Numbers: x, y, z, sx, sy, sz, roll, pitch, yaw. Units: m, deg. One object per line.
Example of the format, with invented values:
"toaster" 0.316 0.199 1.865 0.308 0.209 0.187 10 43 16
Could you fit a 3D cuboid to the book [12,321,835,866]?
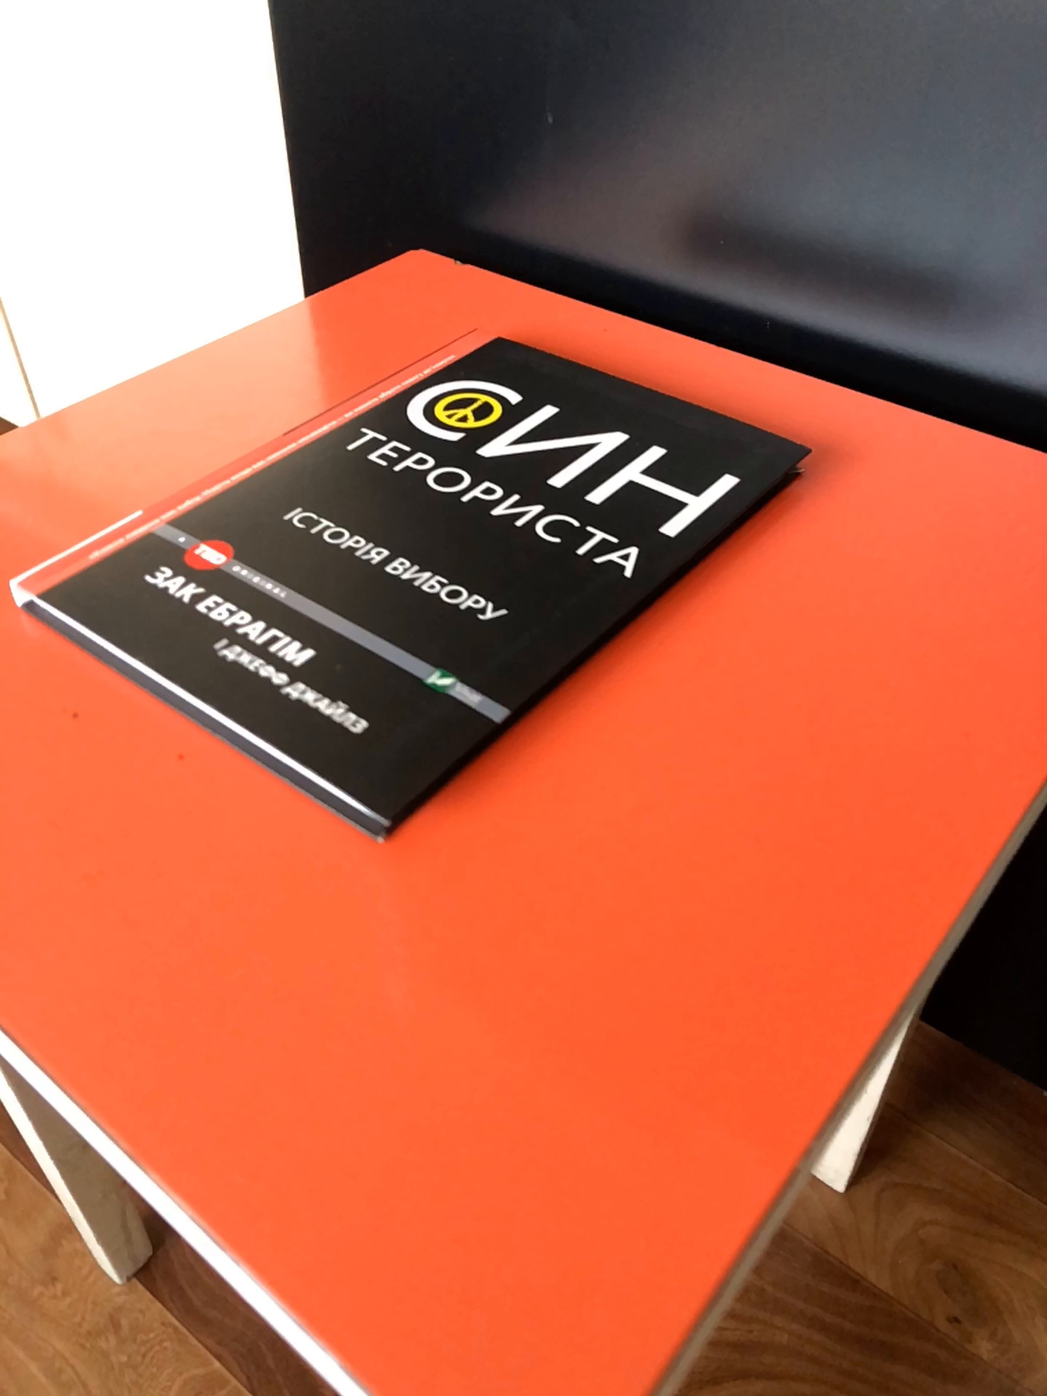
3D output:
"book" -0.020 -0.051 0.337 0.140 0.016 0.198 28 50 28
